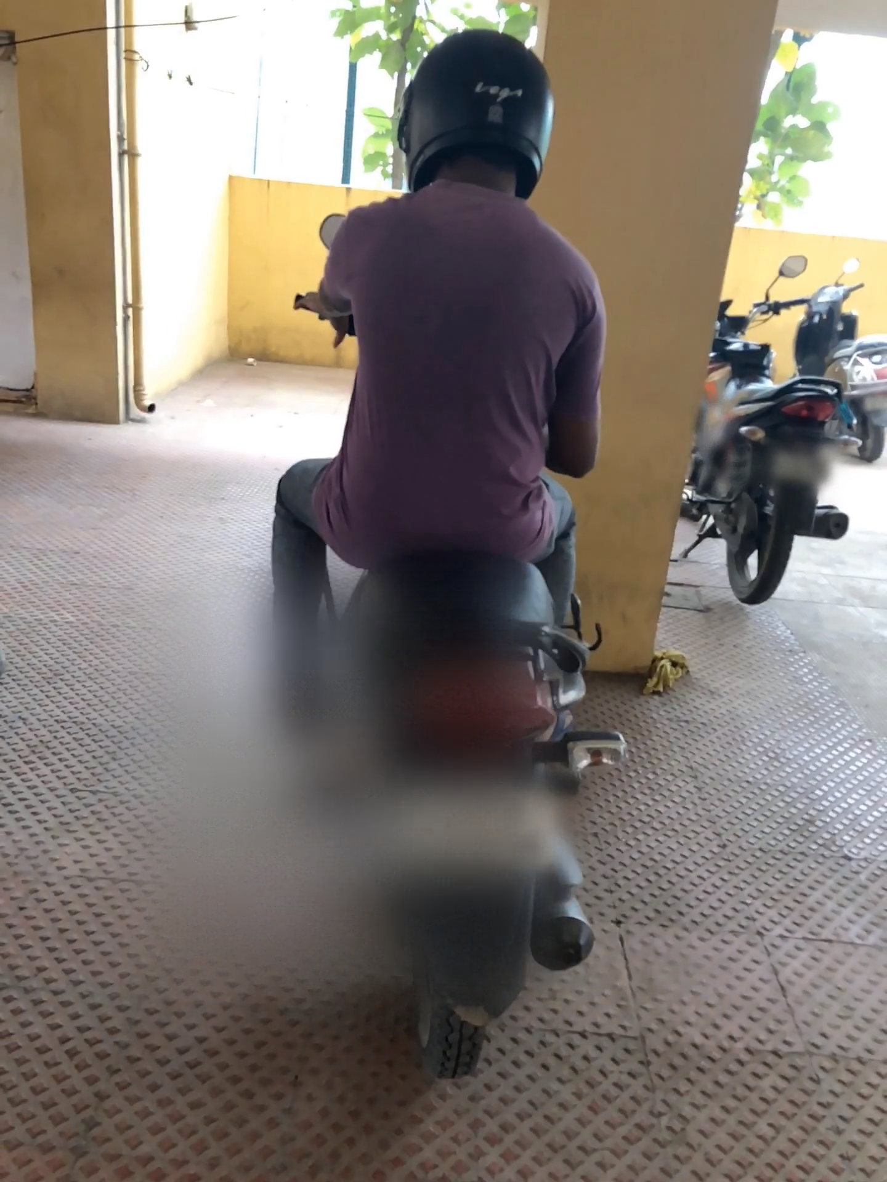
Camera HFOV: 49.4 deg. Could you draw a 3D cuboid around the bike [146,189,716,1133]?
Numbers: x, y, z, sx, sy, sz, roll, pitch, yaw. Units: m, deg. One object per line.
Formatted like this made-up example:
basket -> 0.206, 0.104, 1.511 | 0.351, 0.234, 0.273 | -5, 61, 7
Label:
bike -> -0.007, -0.104, 1.974 | 0.631, 1.063, 1.654 | 6, 27, 0
